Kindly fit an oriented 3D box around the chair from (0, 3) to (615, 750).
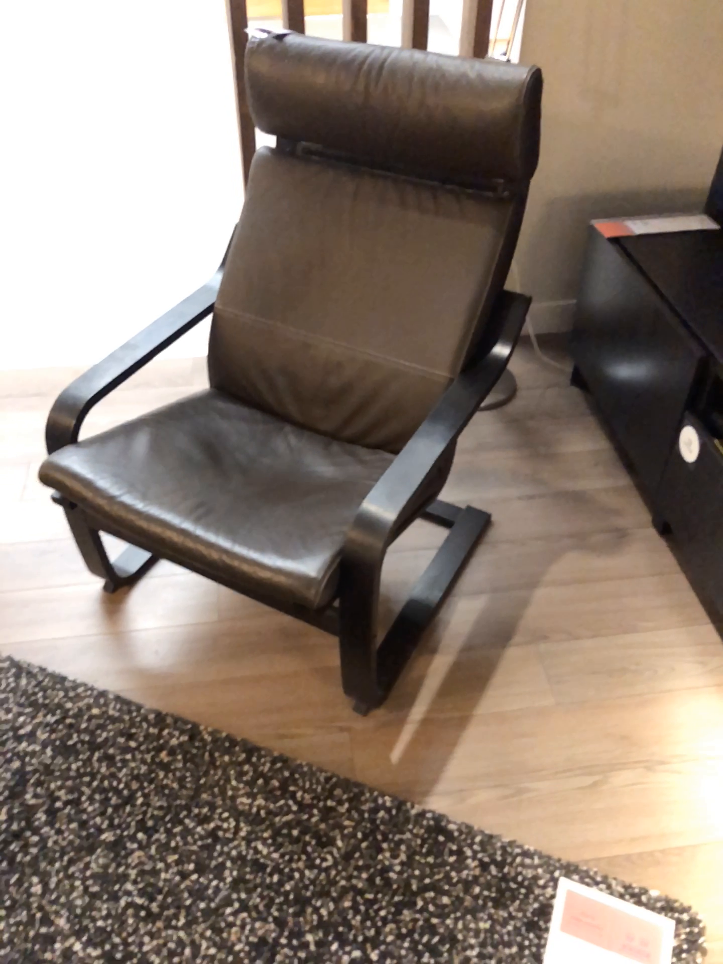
[{"bbox_3d":[-0.130,-0.222,1.405,0.781,0.876,0.732,19,46,20],"label":"chair"}]
